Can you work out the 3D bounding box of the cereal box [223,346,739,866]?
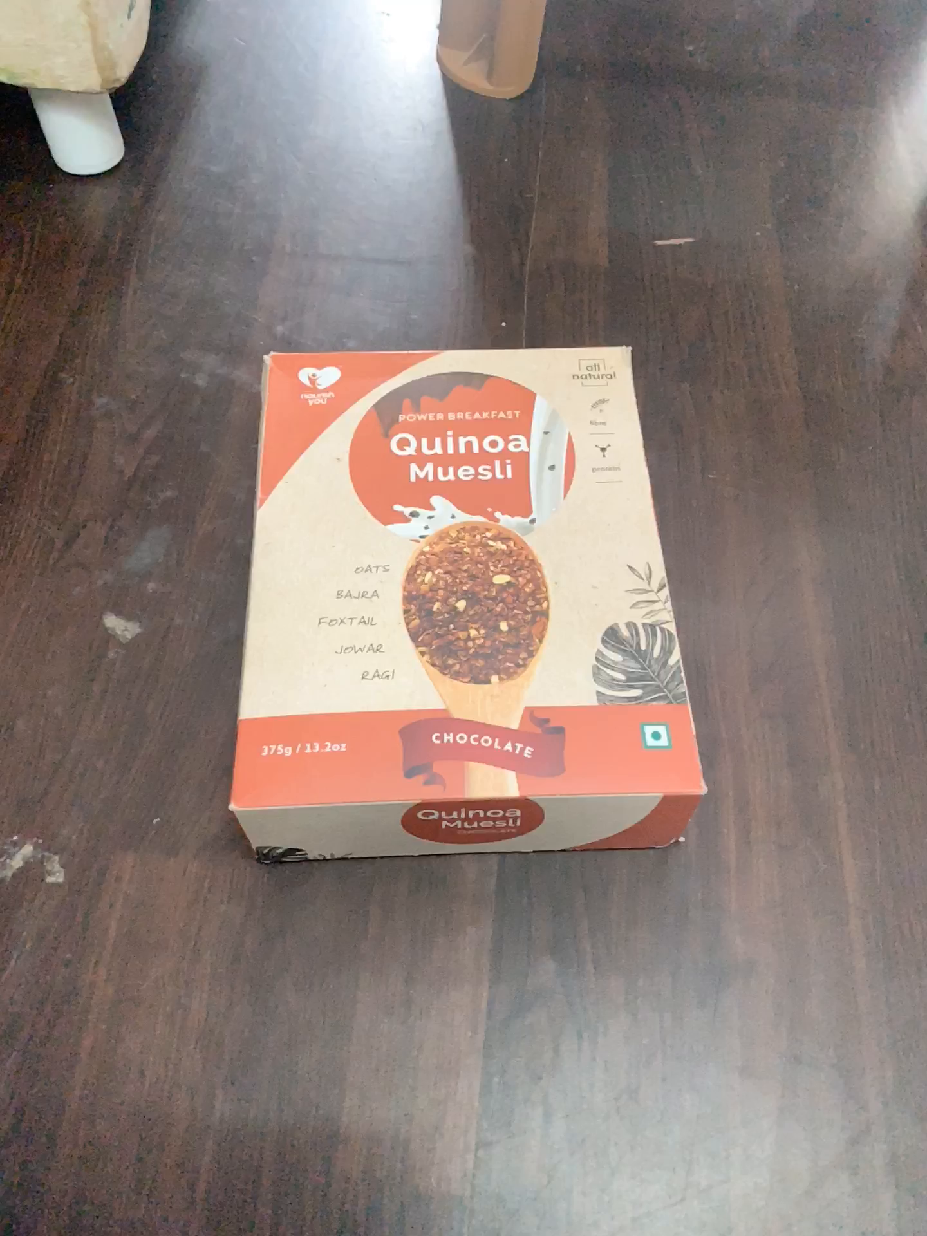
[{"bbox_3d":[0.003,-0.013,0.399,0.170,0.070,0.210,-1,58,-1],"label":"cereal box"}]
